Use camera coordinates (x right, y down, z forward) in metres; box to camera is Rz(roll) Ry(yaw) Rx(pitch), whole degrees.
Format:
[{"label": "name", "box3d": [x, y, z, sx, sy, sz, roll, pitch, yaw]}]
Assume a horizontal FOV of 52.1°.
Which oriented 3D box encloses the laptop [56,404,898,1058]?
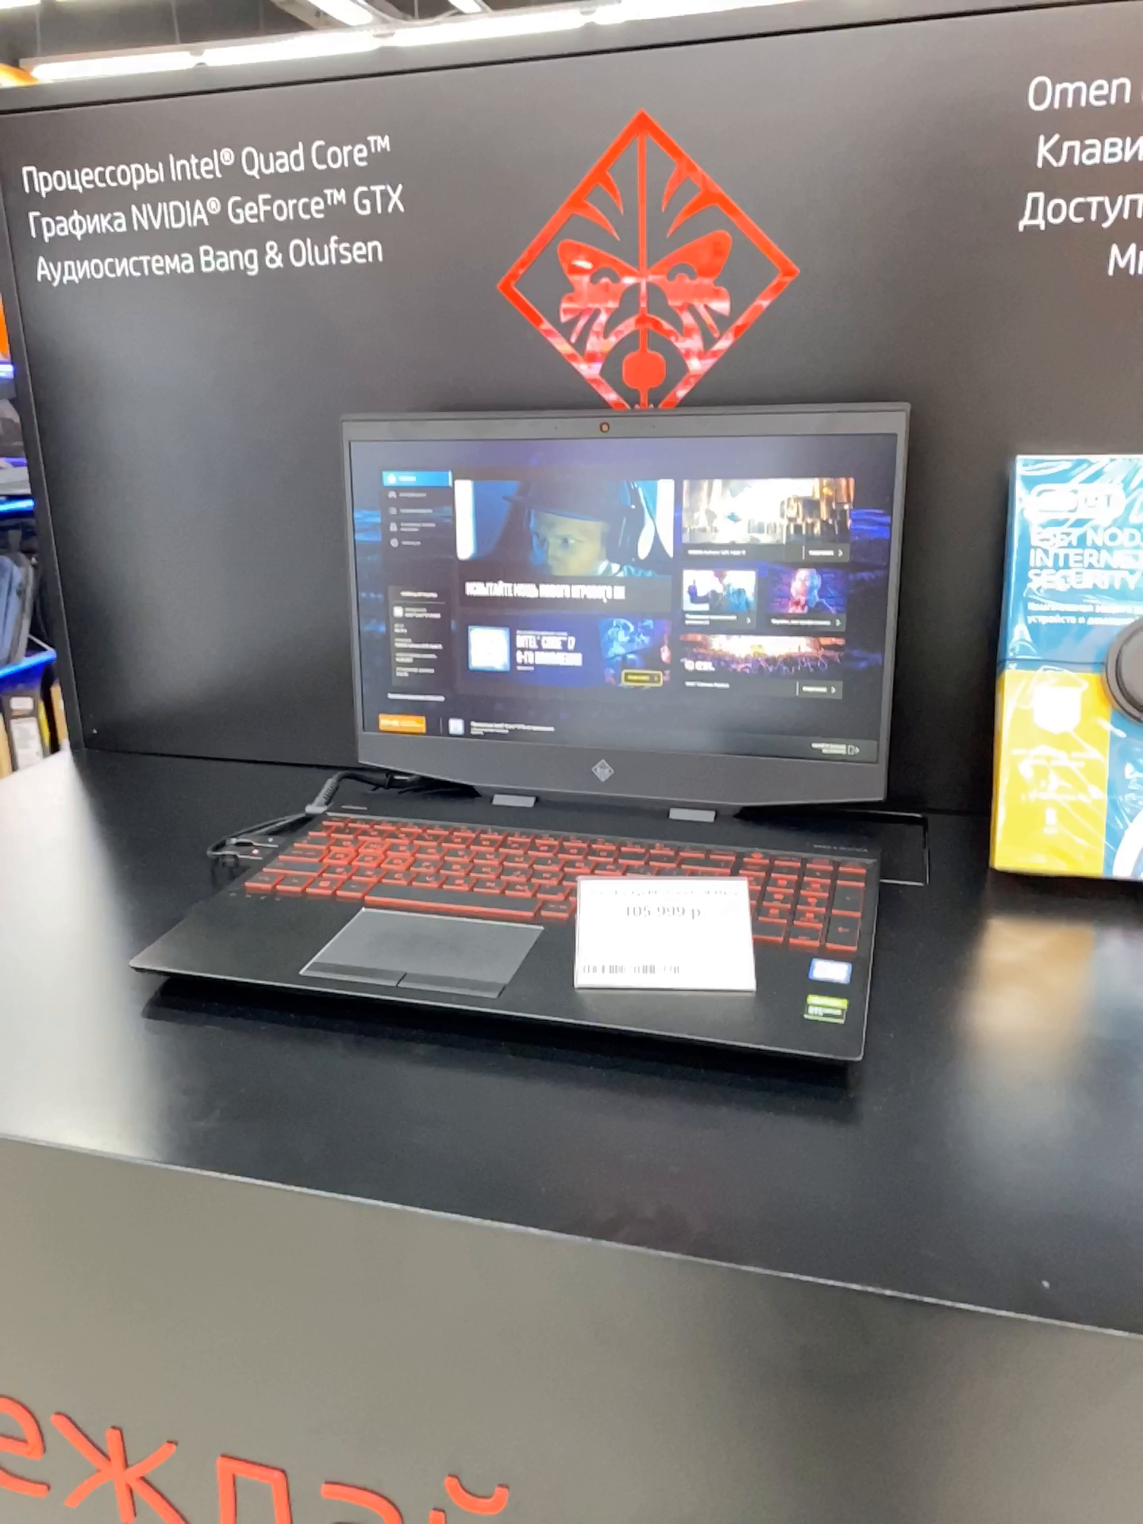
[{"label": "laptop", "box3d": [-0.014, -0.056, 0.639, 0.358, 0.247, 0.302, 4, 19, 15]}]
